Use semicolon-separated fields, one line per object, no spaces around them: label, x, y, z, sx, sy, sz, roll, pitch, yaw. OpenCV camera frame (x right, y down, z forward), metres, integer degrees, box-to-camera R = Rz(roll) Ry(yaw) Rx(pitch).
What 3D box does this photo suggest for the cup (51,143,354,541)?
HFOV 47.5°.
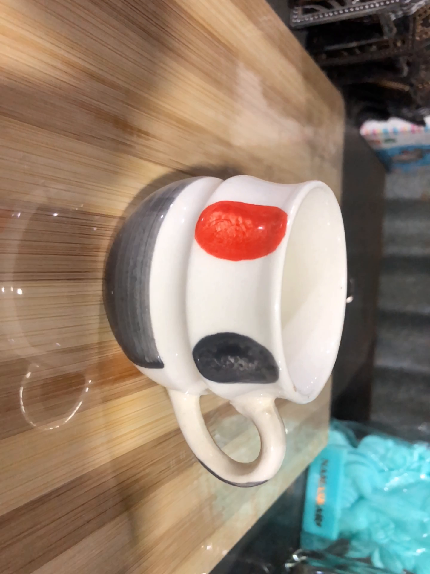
cup;0.003;0.007;0.143;0.060;0.060;0.090;-30;120;-58
